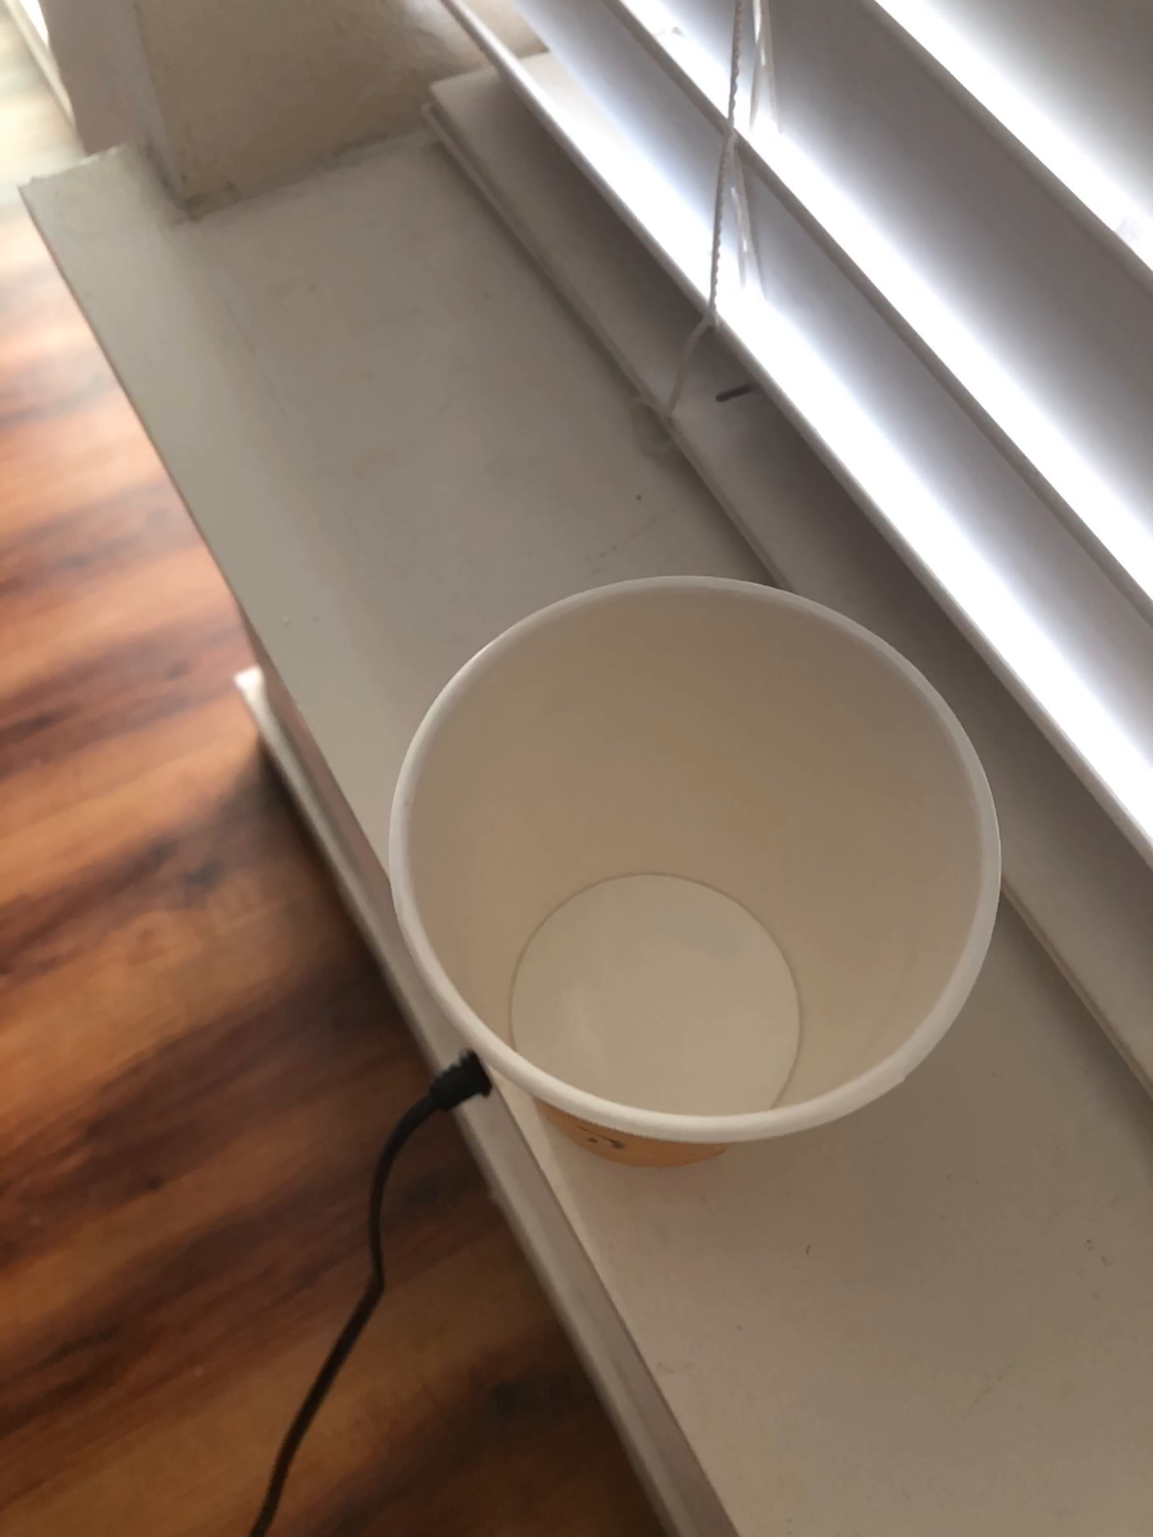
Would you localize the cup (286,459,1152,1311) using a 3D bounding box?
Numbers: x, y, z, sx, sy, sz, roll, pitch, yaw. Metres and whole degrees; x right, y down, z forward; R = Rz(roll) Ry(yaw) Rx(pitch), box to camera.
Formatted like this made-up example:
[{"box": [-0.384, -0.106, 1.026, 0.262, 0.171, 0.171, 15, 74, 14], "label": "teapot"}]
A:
[{"box": [0.017, 0.024, 0.227, 0.093, 0.088, 0.095, 0, 63, -1], "label": "cup"}]
